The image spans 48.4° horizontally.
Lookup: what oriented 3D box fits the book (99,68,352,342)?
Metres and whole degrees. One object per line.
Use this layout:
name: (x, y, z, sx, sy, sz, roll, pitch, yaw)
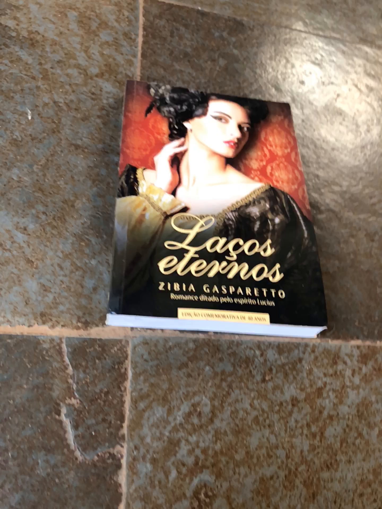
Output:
book: (0.020, -0.043, 0.310, 0.154, 0.027, 0.205, 5, 60, -13)
